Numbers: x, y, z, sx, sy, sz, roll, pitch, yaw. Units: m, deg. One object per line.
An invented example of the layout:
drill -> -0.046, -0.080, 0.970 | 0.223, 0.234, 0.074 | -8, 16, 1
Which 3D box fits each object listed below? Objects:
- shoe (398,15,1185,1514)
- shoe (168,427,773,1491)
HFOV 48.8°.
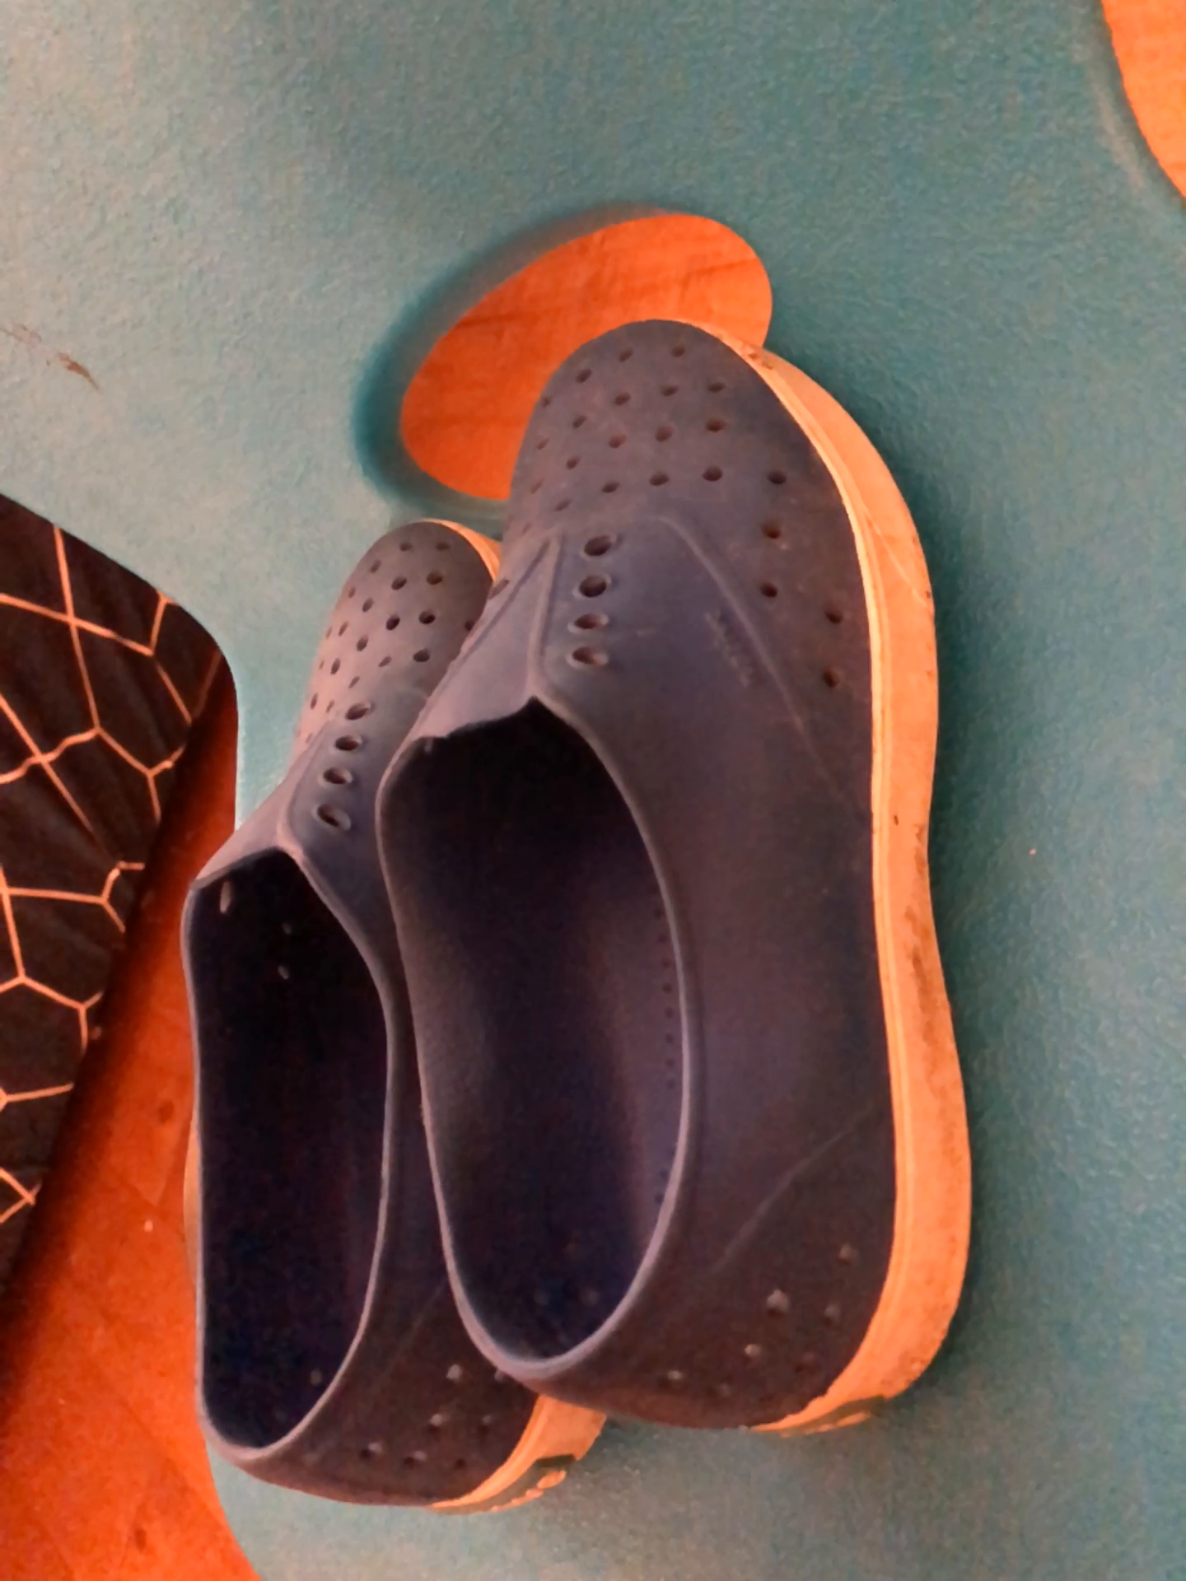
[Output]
shoe -> 0.025, -0.007, 0.242 | 0.100, 0.070, 0.241 | -25, 59, 36
shoe -> -0.033, 0.039, 0.304 | 0.090, 0.079, 0.211 | -25, 59, 36
